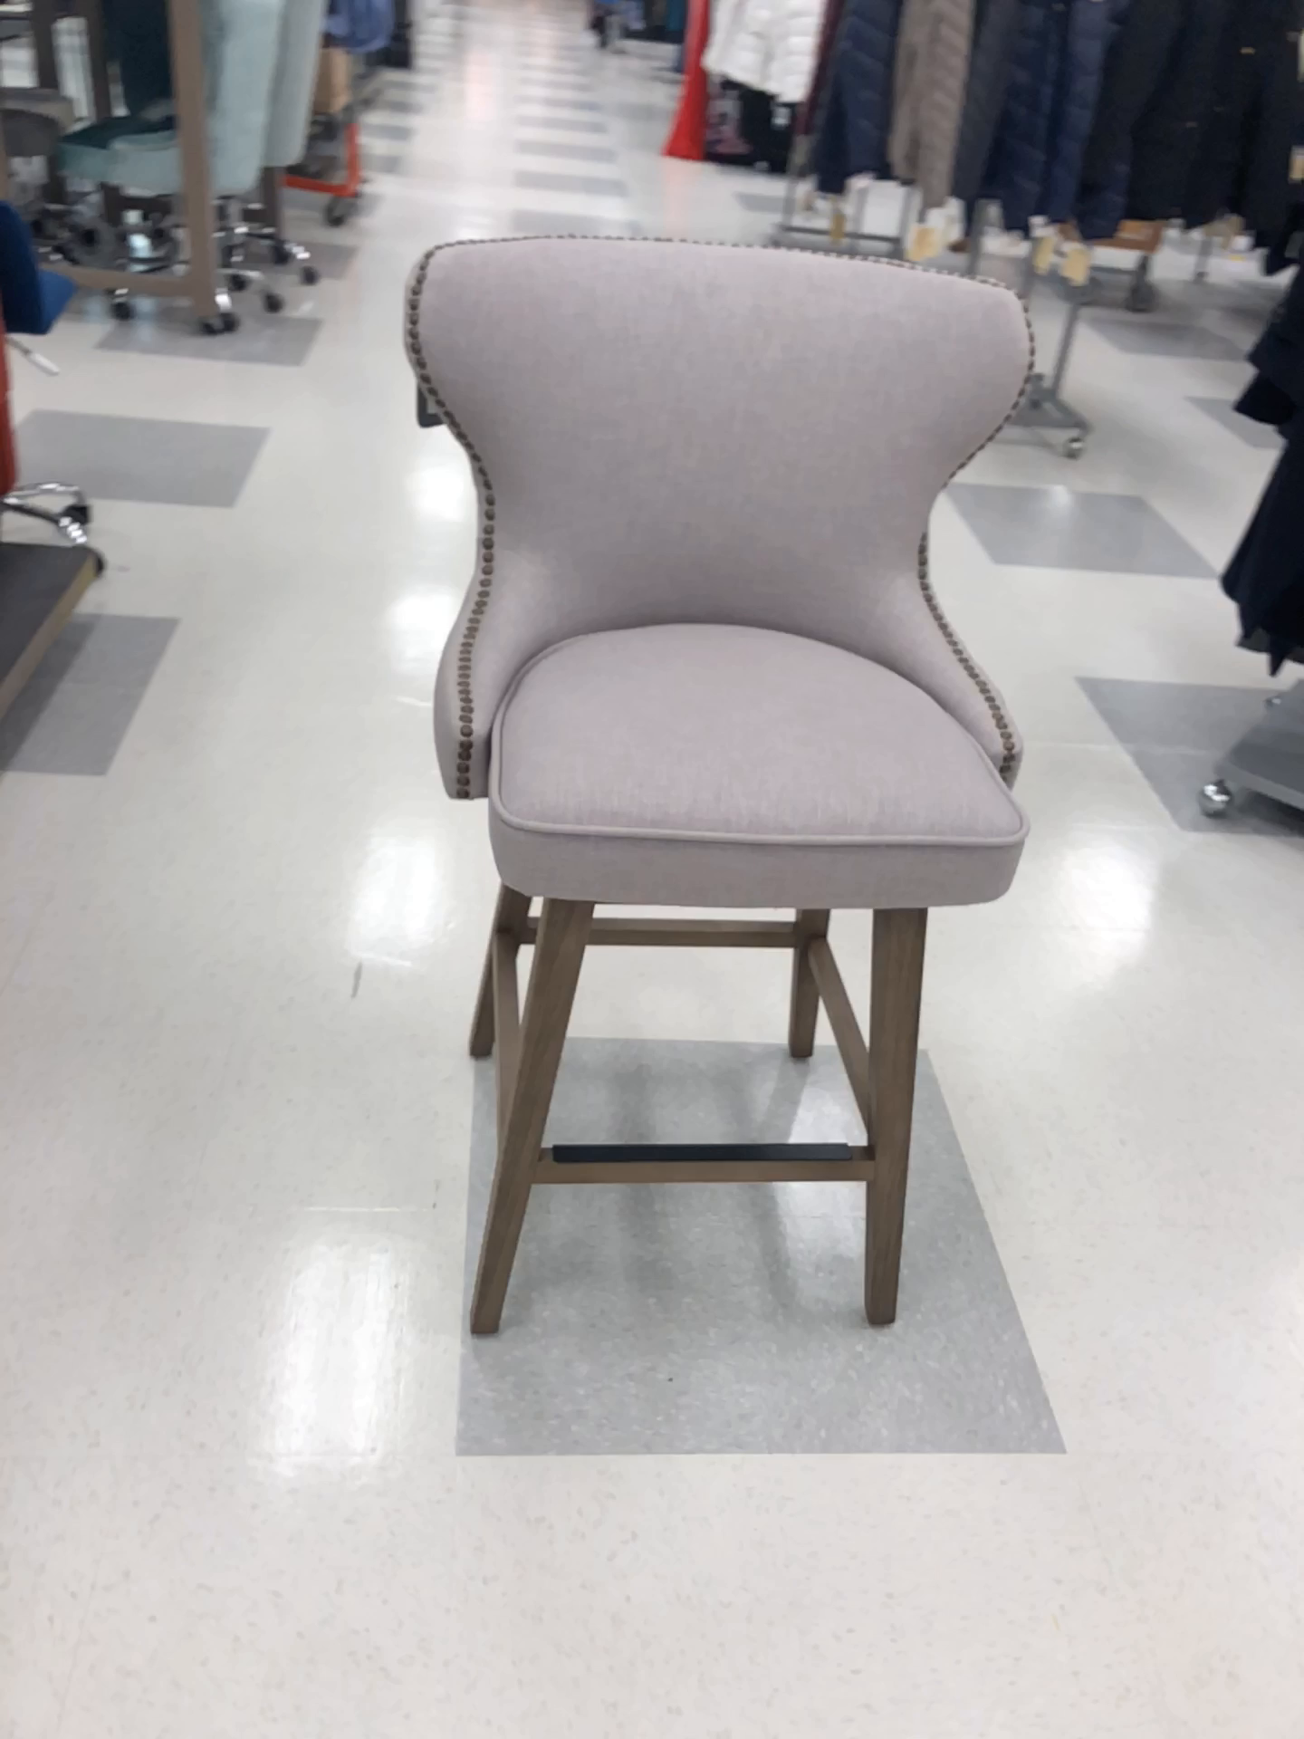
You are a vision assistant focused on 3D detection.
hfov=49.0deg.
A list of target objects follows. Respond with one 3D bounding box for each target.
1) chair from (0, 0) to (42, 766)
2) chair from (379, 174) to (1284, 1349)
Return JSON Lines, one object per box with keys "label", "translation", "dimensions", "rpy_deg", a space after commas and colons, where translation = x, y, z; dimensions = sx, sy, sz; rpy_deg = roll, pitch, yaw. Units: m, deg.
{"label": "chair", "translation": [-1.633, -0.840, 2.148], "dimensions": [0.996, 0.969, 0.915], "rpy_deg": [4, 33, -5]}
{"label": "chair", "translation": [0.054, -0.067, 1.403], "dimensions": [0.608, 0.999, 0.480], "rpy_deg": [1, 33, -9]}
